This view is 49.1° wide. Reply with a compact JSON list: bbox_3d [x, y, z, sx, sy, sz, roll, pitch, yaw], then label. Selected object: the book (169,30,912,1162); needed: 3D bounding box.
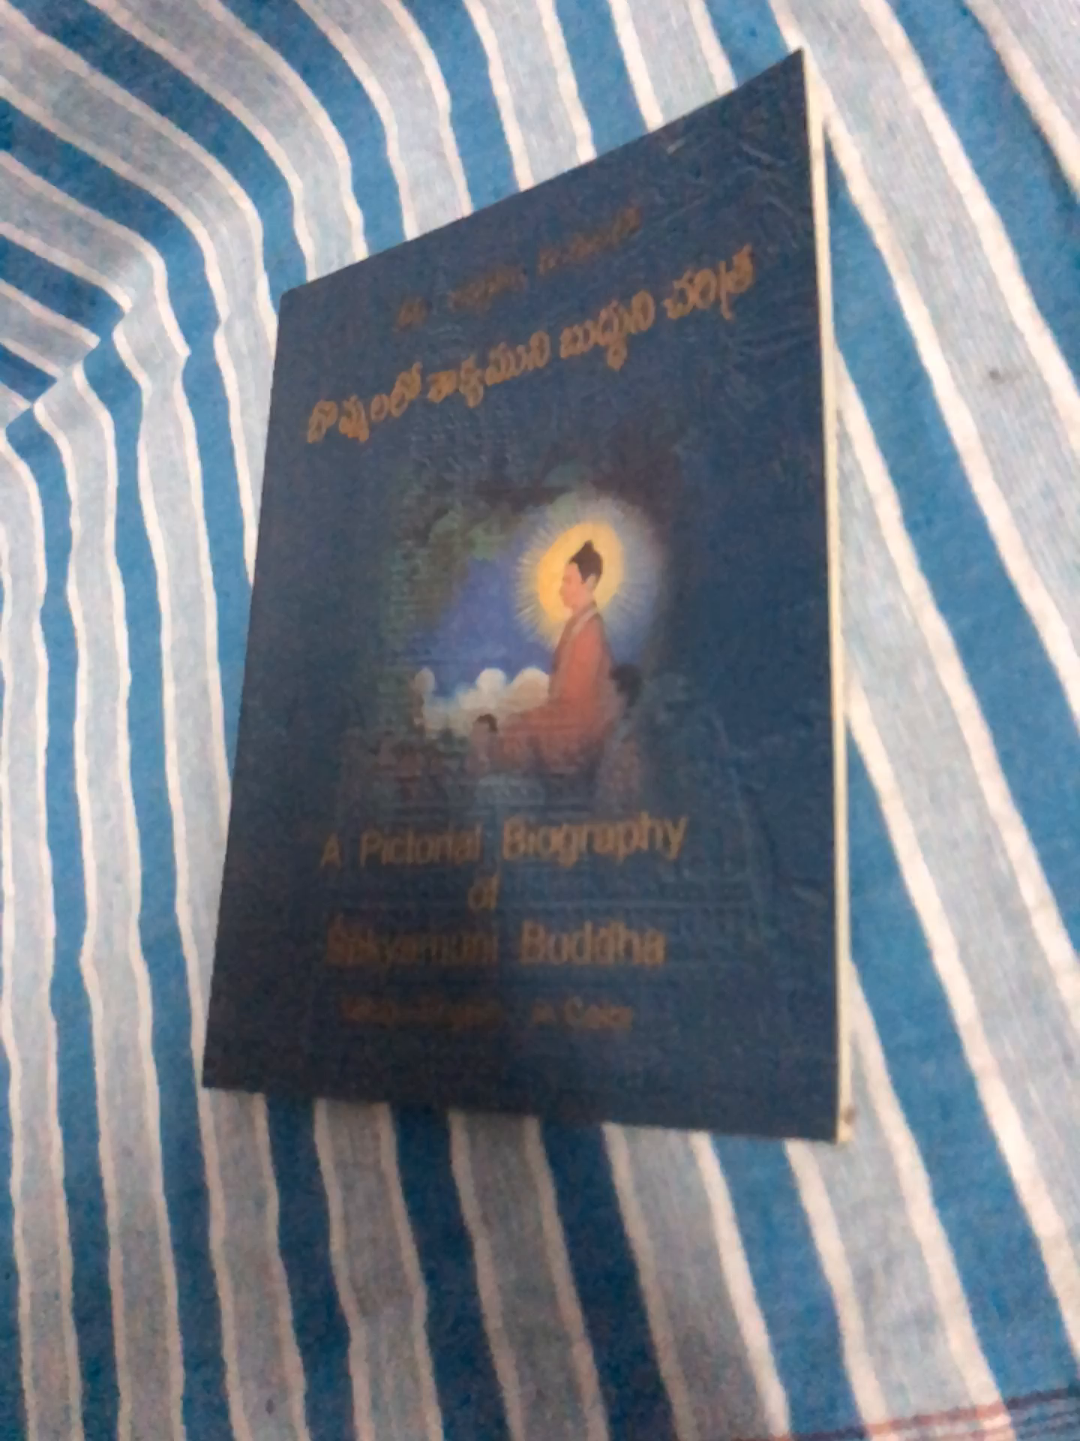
[{"bbox_3d":[-0.008,-0.024,0.271,0.170,0.020,0.220,-8,72,34],"label":"book"}]
